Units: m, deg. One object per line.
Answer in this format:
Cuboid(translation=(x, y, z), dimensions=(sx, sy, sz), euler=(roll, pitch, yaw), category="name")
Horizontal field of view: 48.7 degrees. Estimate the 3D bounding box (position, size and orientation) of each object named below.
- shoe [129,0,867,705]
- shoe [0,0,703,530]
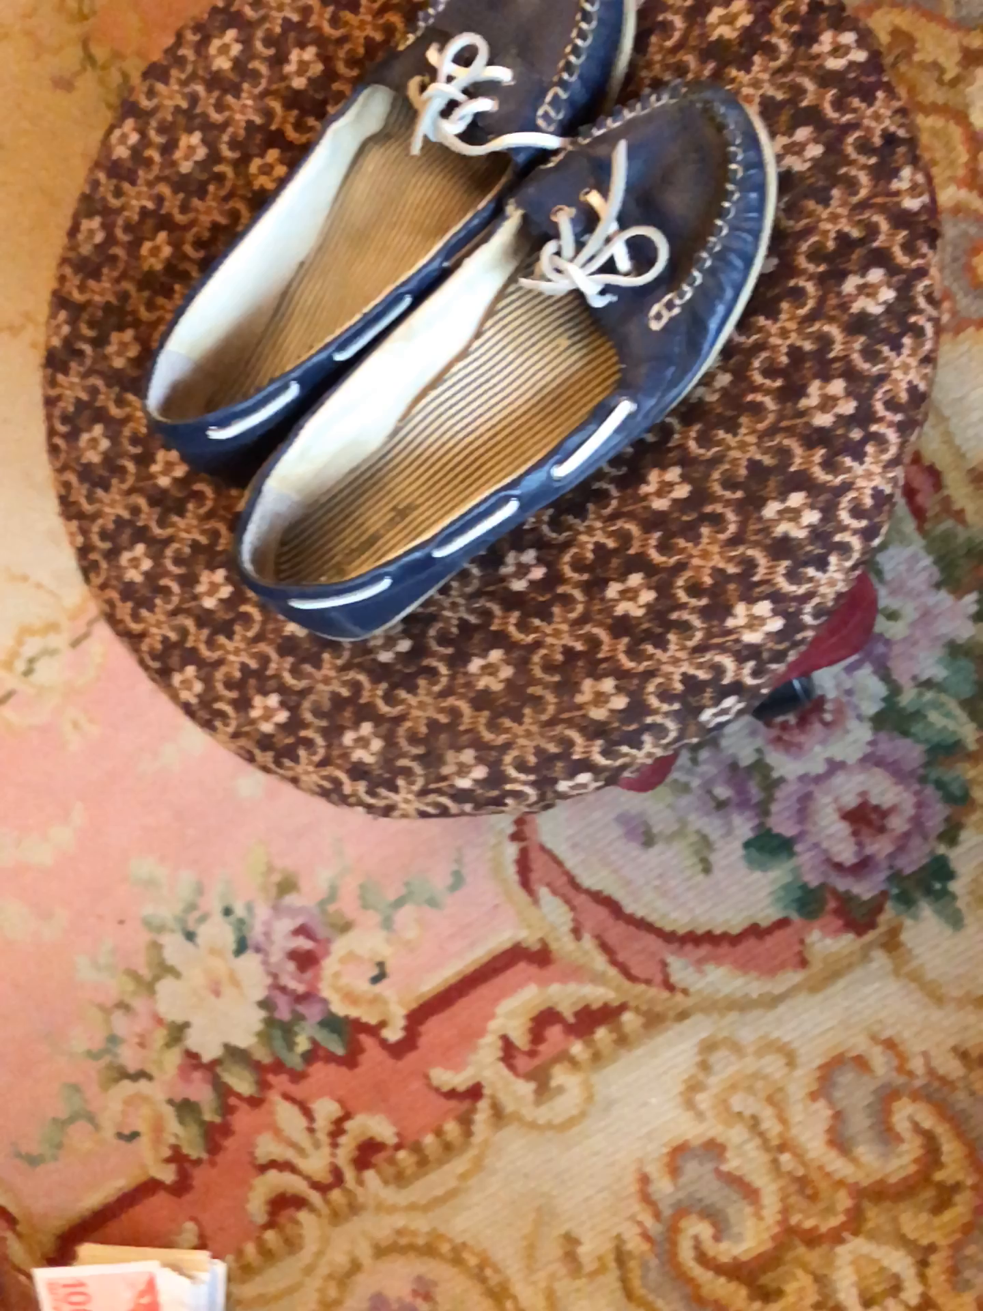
Cuboid(translation=(0.004, -0.104, 0.388), dimensions=(0.250, 0.100, 0.090), euler=(-45, 80, 15), category="shoe")
Cuboid(translation=(-0.050, -0.177, 0.397), dimensions=(0.250, 0.090, 0.090), euler=(-46, 73, 8), category="shoe")
